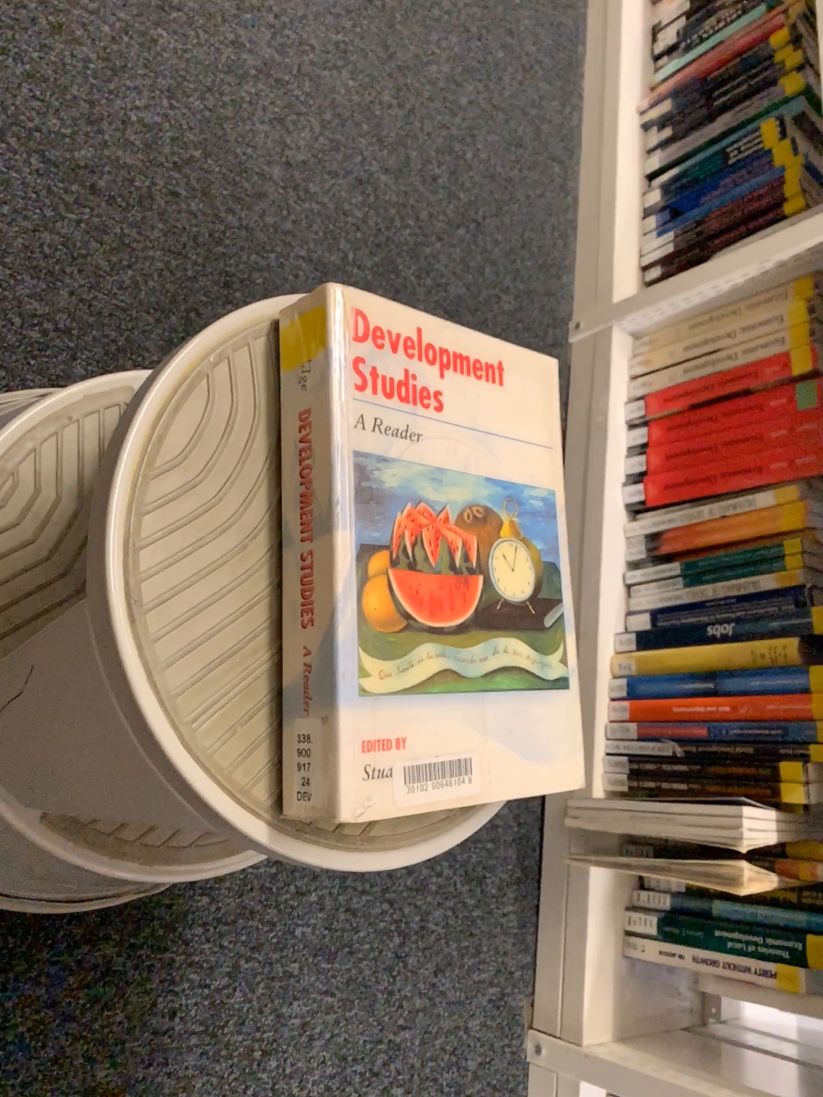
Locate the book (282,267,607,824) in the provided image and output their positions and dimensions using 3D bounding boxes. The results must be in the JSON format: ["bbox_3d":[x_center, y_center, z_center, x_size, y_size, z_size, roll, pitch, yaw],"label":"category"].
[{"bbox_3d":[0.019,0.003,0.404,0.160,0.045,0.225,7,77,-41],"label":"book"}]
